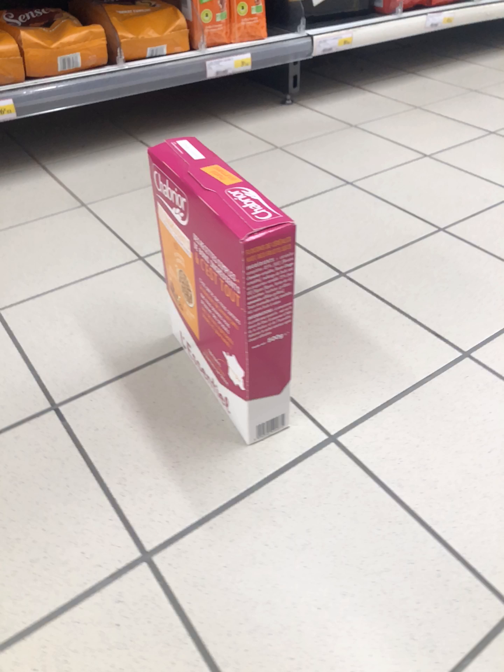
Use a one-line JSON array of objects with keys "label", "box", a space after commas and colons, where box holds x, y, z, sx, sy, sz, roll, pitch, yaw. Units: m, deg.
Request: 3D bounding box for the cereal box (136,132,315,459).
[{"label": "cereal box", "box": [-0.031, -0.042, 0.528, 0.060, 0.229, 0.211, -19, 43, -21]}]
